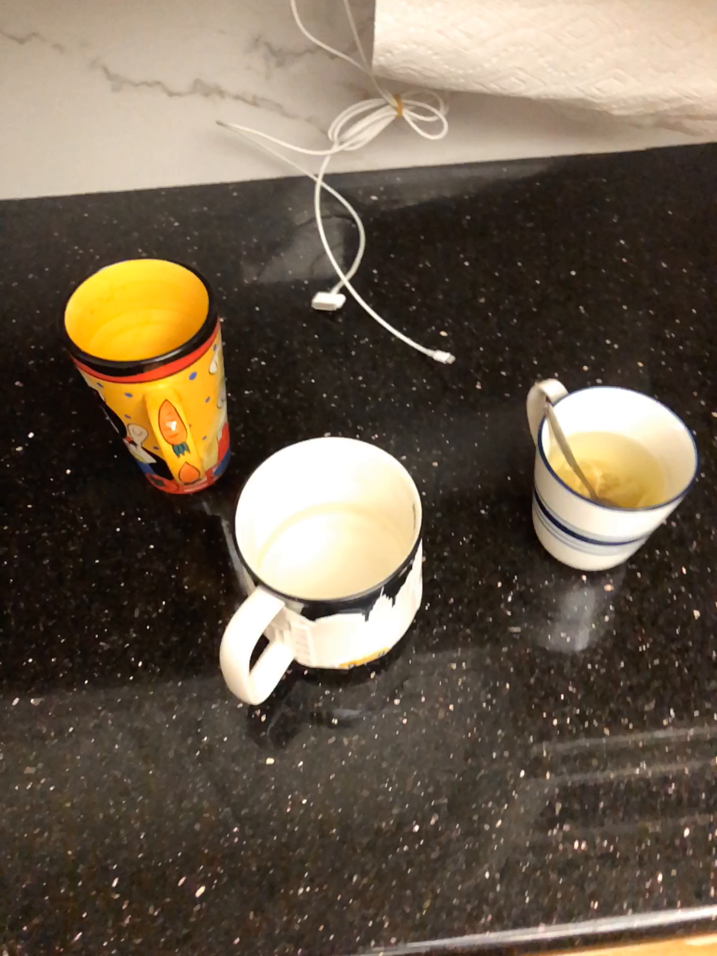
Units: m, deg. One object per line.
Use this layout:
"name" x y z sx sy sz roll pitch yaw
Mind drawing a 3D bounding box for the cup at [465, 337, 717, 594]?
"cup" 0.134 -0.010 0.473 0.090 0.060 0.120 -19 56 -12

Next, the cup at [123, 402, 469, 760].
"cup" -0.029 0.052 0.434 0.110 0.080 0.140 34 62 22

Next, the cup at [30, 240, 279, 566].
"cup" -0.124 -0.048 0.485 0.100 0.100 0.151 -18 56 -11
